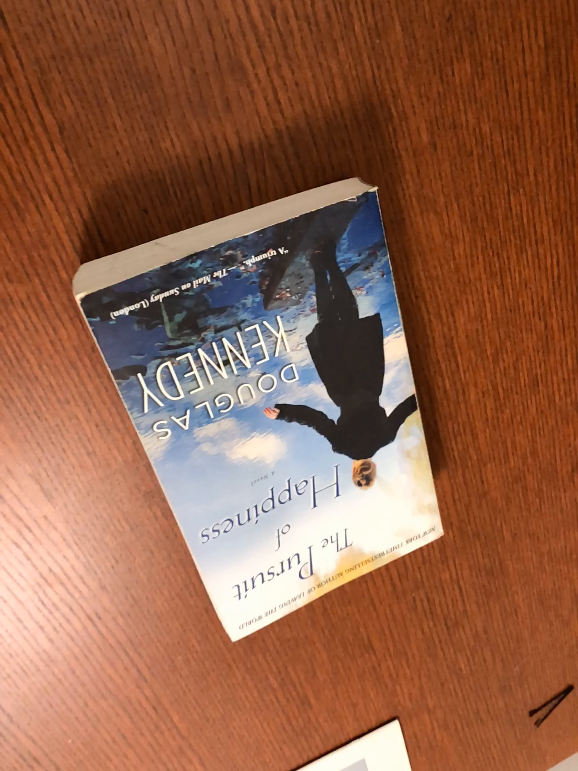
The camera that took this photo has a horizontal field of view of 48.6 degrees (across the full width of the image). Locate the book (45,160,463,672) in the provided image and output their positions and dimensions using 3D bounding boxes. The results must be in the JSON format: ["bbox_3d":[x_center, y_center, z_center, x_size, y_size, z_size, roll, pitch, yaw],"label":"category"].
[{"bbox_3d":[-0.004,0.024,0.351,0.160,0.050,0.240,-22,117,-11],"label":"book"}]
